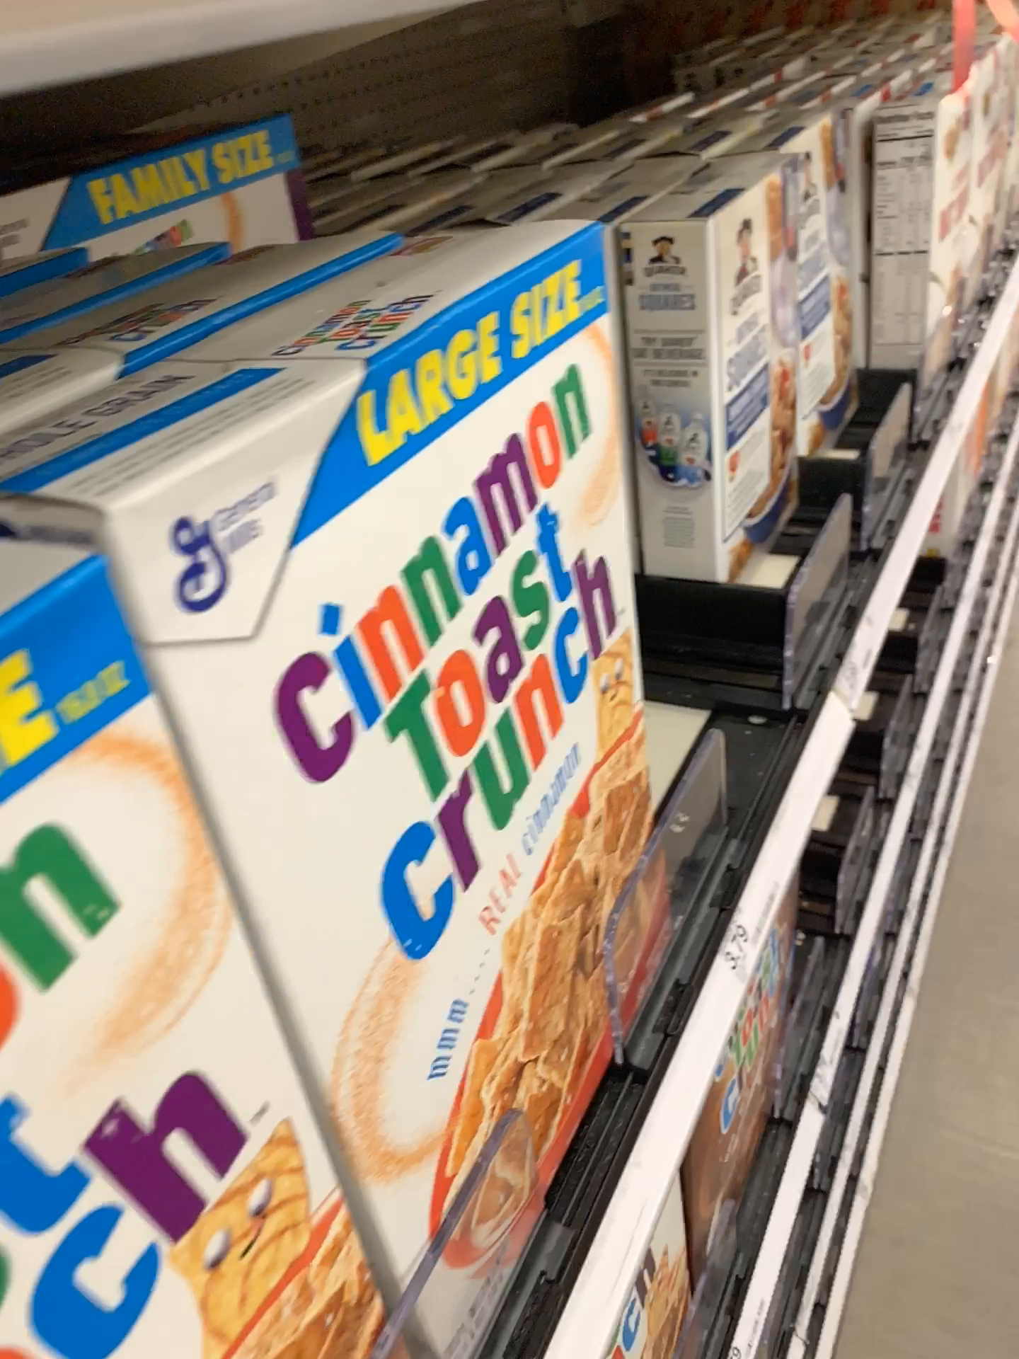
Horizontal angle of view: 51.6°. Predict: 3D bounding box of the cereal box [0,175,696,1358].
[{"bbox_3d":[-0.018,0.032,0.307,0.070,0.289,0.191,9,38,27],"label":"cereal box"}]
